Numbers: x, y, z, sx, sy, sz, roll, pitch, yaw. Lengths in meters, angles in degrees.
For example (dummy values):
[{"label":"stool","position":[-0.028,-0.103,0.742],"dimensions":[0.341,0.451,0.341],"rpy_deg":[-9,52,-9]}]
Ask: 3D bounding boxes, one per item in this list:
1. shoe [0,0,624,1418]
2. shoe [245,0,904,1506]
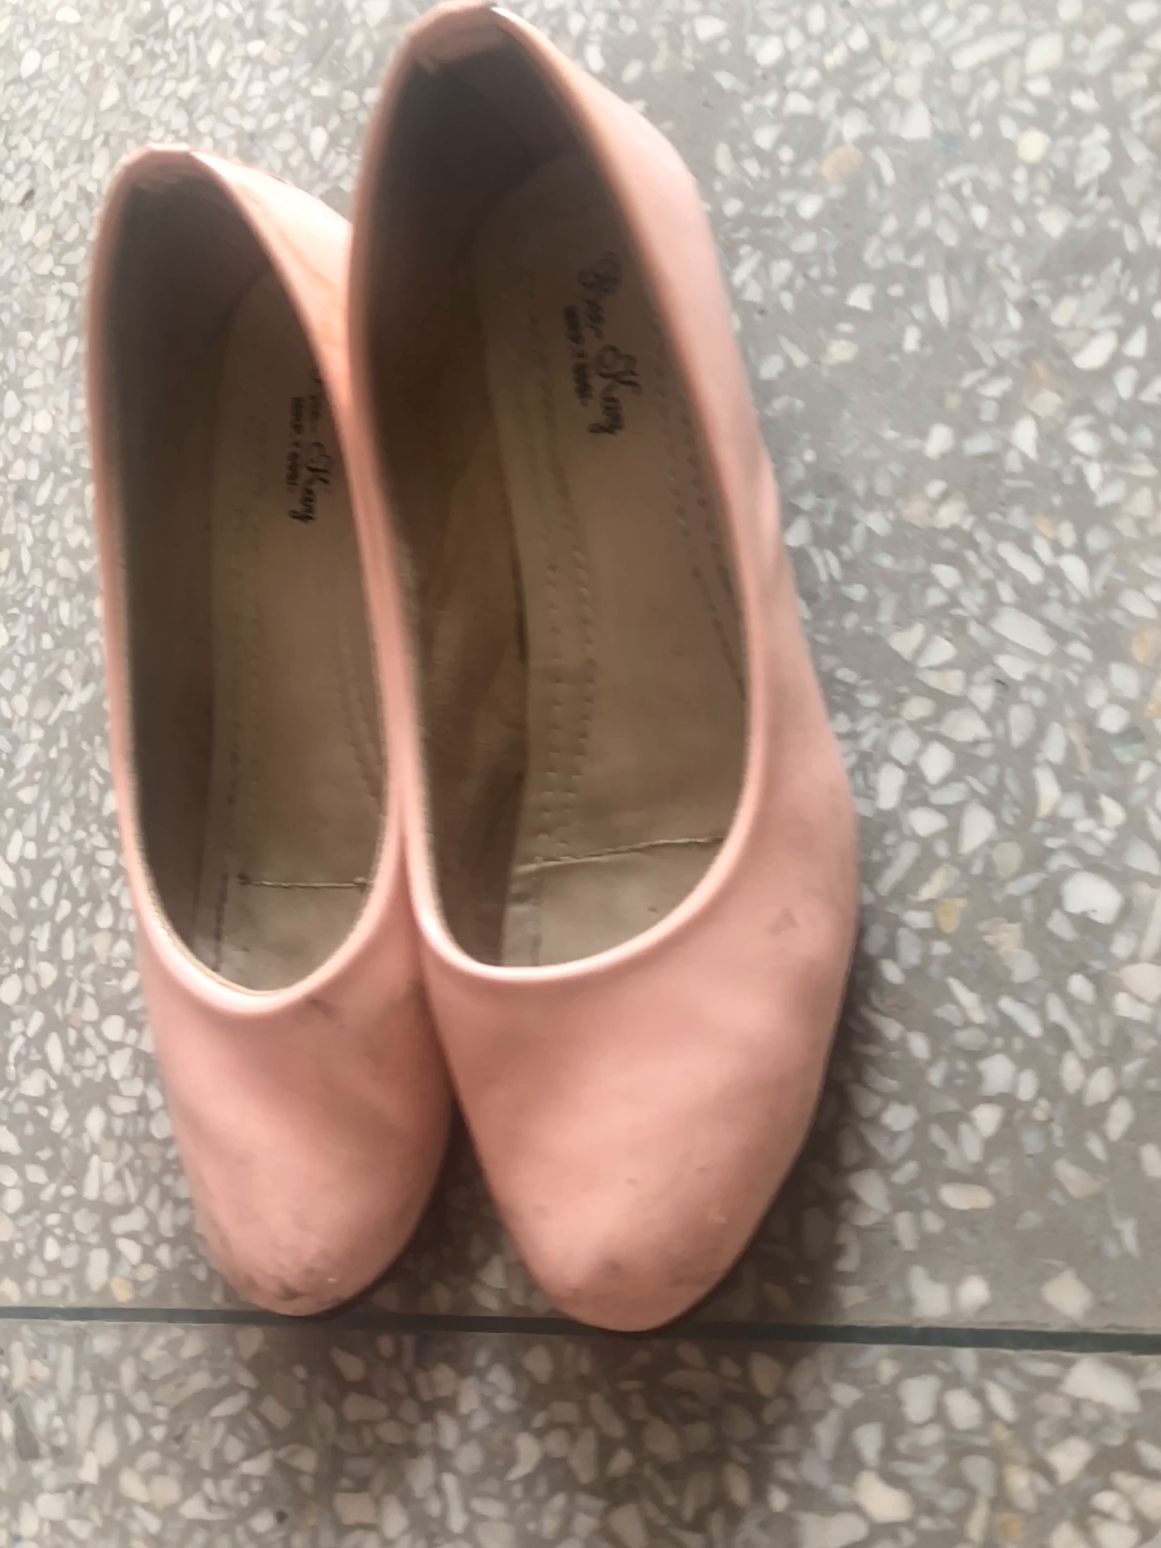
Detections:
[{"label":"shoe","position":[-0.060,-0.010,0.283],"dimensions":[0.090,0.070,0.260],"rpy_deg":[-6,90,25]},{"label":"shoe","position":[-0.002,-0.019,0.246],"dimensions":[0.090,0.070,0.260],"rpy_deg":[-6,83,25]}]
